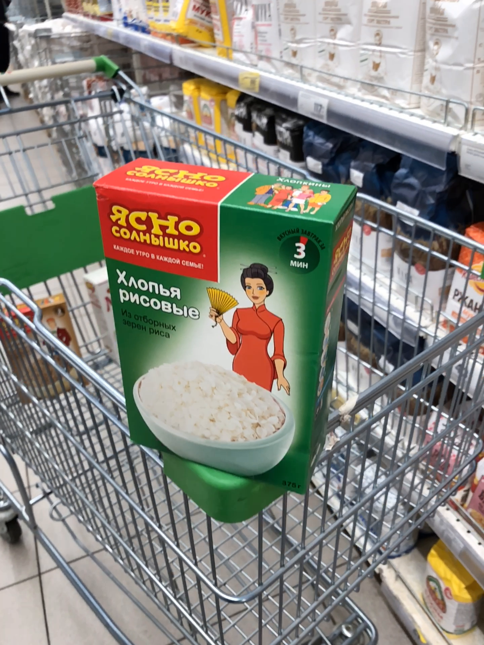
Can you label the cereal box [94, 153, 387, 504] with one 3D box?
[{"bbox_3d":[-0.001,0.007,0.325,0.140,0.189,0.050,12,35,19],"label":"cereal box"}]
